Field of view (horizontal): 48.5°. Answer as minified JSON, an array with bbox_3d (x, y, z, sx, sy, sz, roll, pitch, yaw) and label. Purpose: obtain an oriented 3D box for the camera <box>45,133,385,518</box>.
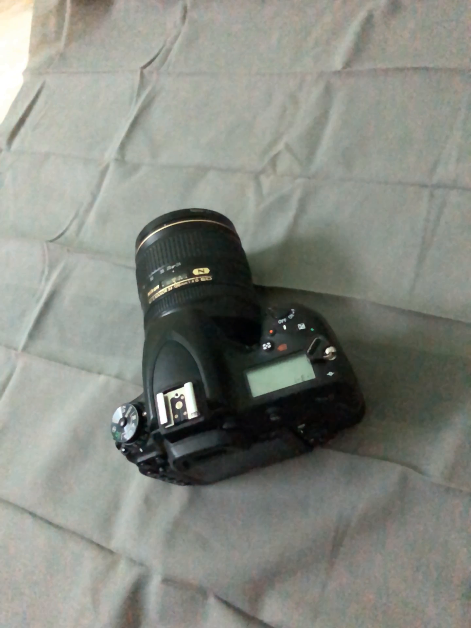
[{"bbox_3d":[-0.012,0.019,0.330,0.146,0.134,0.164,-21,60,12],"label":"camera"}]
